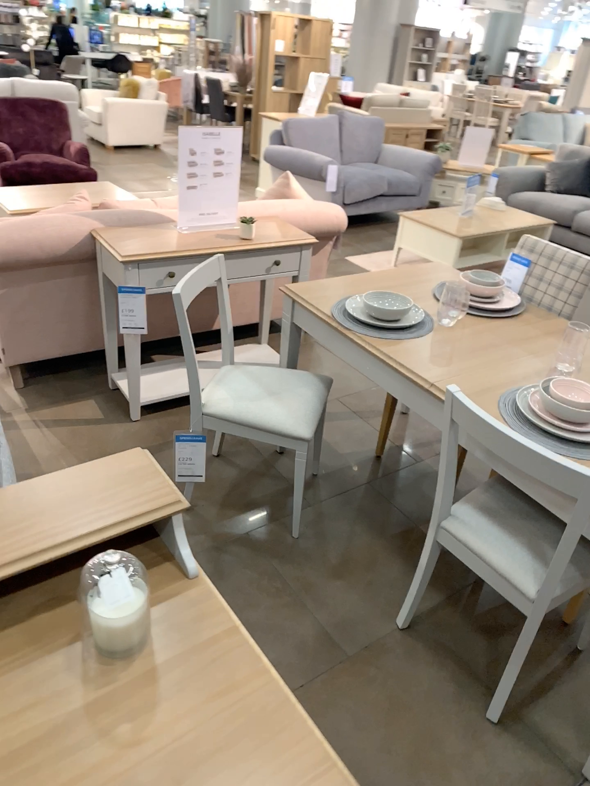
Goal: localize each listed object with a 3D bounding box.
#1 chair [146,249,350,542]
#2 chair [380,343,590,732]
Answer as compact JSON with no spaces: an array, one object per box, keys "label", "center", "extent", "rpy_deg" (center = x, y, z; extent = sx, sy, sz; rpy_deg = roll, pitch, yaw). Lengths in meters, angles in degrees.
[{"label":"chair","center":[-0.160,0.000,2.107],"extent":[0.534,0.817,0.464],"rpy_deg":[11,30,8]},{"label":"chair","center":[0.642,0.371,1.657],"extent":[0.536,0.817,0.433],"rpy_deg":[-16,36,-33]}]
